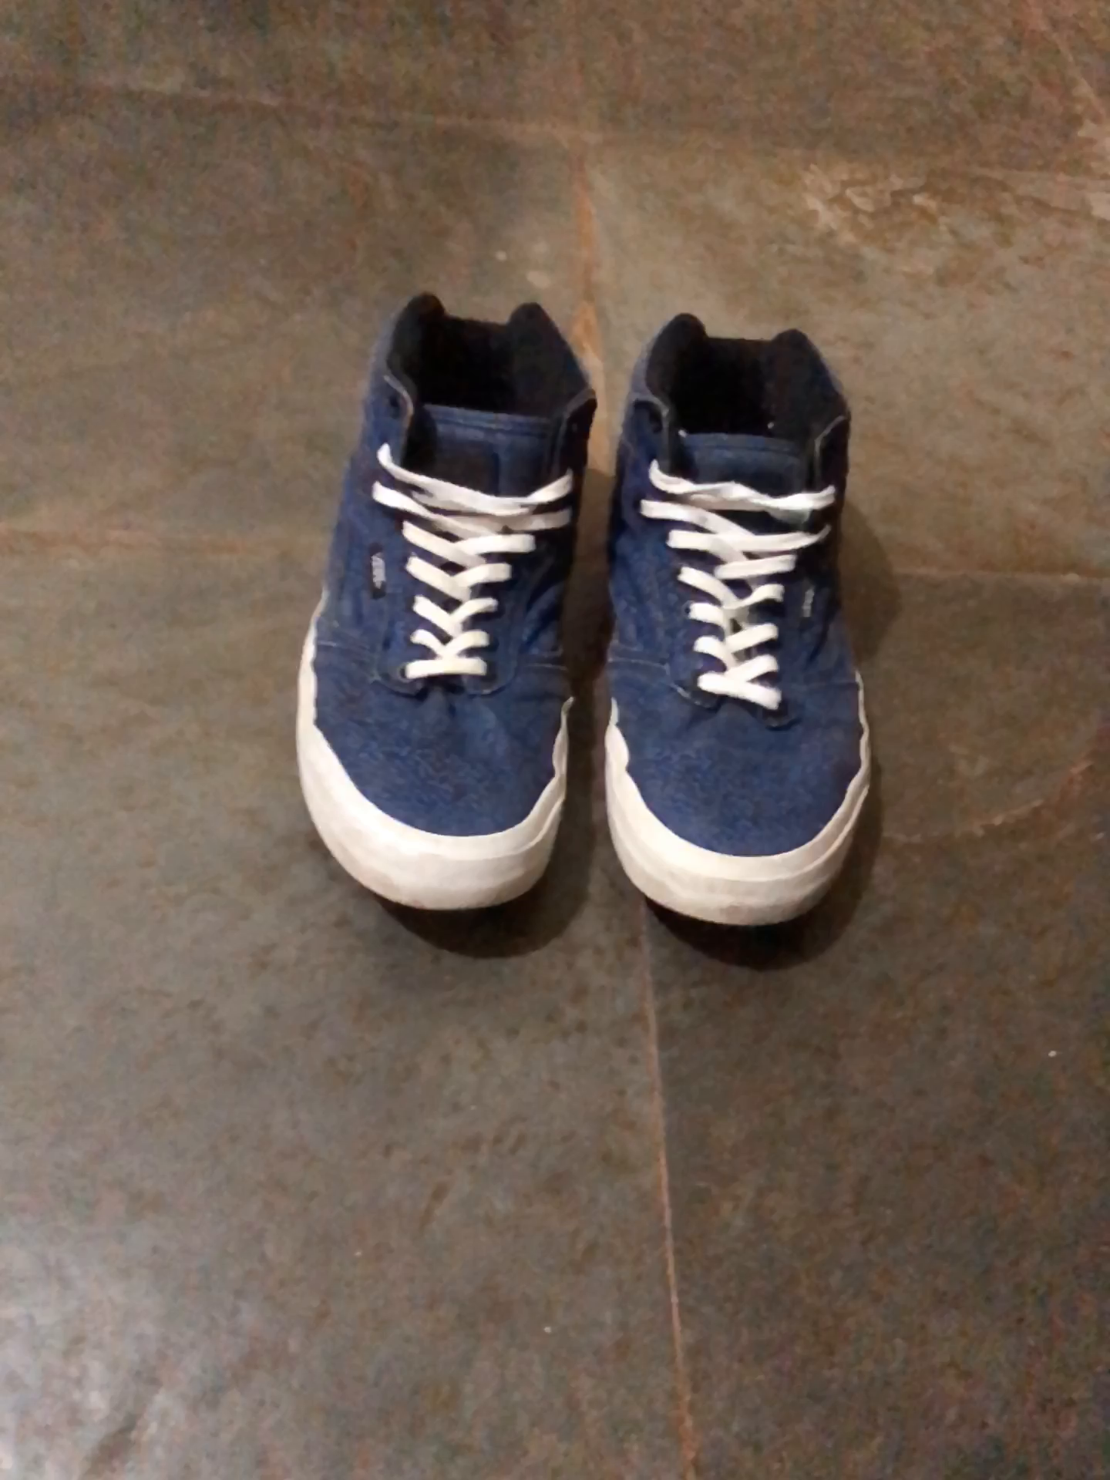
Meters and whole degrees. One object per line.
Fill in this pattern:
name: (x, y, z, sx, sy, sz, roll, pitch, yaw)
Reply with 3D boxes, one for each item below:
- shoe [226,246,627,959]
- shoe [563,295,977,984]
shoe: (-0.044, -0.066, 0.495, 0.120, 0.109, 0.282, 4, 53, -5)
shoe: (0.074, -0.054, 0.499, 0.120, 0.089, 0.282, 6, 52, -3)
